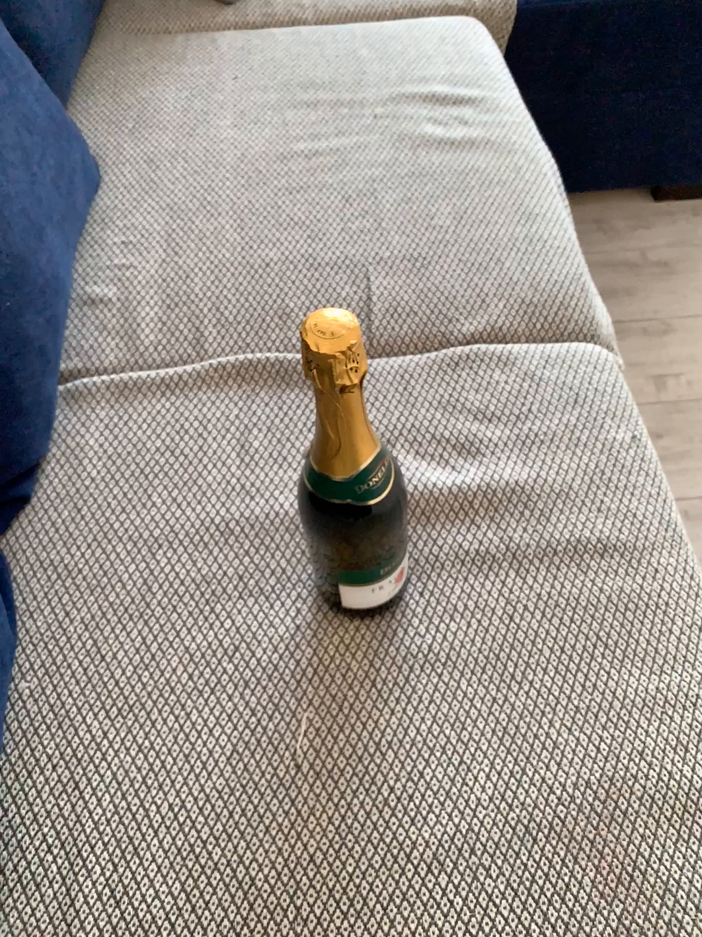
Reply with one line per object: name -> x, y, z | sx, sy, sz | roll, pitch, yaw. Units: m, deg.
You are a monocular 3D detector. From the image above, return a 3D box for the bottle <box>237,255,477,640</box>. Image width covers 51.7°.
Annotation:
bottle -> 0.007, 0.009, 0.502 | 0.090, 0.289, 0.090 | -1, 57, 1
